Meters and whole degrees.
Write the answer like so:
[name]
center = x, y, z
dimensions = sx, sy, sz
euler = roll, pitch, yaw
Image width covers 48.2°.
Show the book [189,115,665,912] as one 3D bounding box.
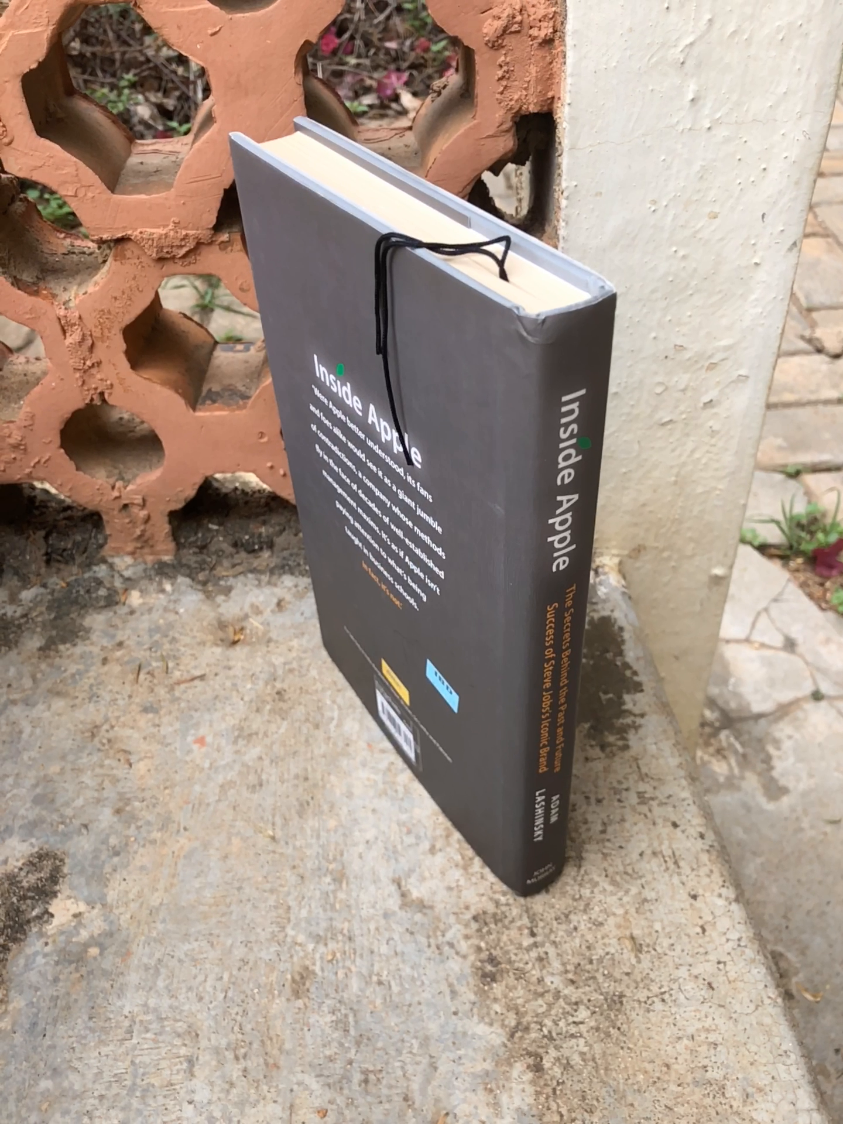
[book]
center = -0.003, -0.013, 0.320
dimensions = 0.040, 0.219, 0.171
euler = -26, 45, -21
